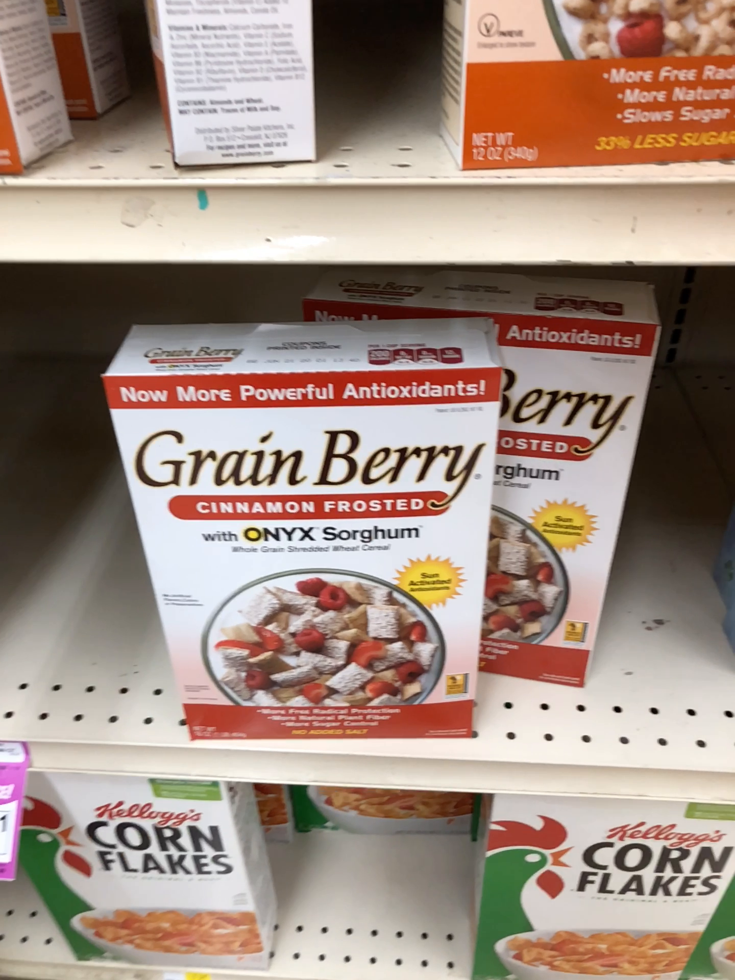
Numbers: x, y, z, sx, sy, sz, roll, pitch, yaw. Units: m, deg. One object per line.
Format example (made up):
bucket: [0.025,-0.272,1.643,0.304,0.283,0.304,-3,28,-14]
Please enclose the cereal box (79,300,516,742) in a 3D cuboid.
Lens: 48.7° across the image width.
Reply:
cereal box: [-0.030,0.034,0.483,0.200,0.279,0.070,-1,37,1]
